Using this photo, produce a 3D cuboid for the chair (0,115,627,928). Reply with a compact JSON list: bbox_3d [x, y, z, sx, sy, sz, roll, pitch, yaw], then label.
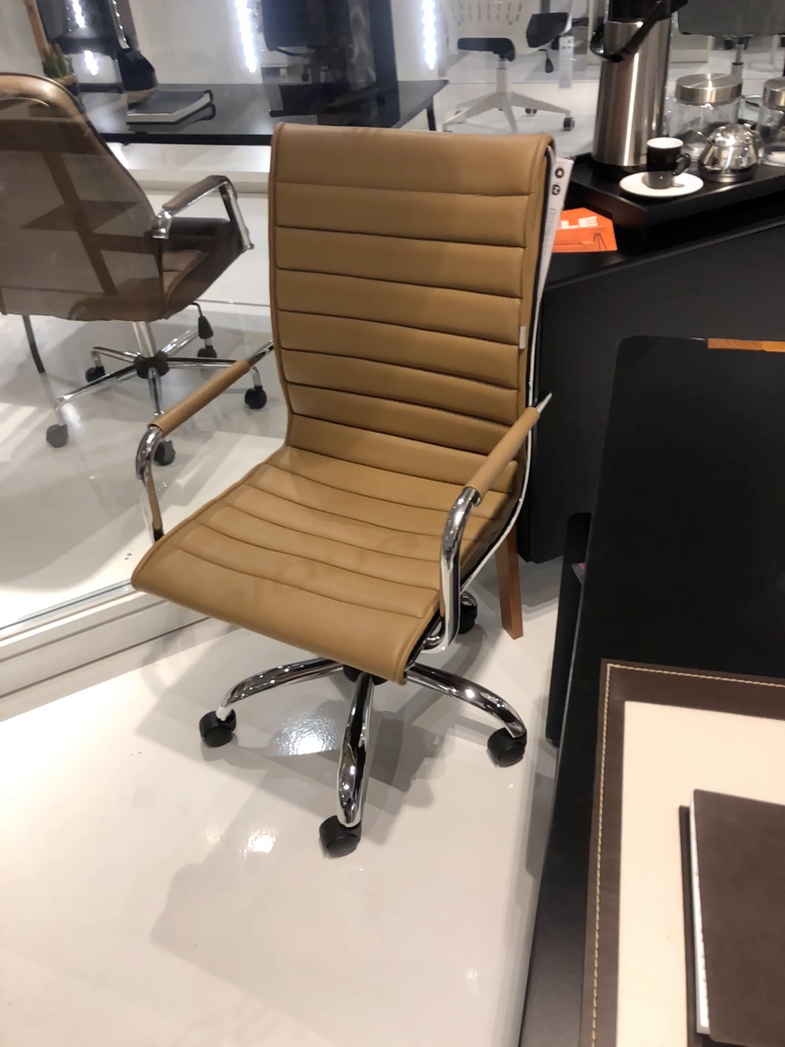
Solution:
[{"bbox_3d":[-0.073,-0.027,1.315,0.601,0.943,0.614,16,42,26],"label":"chair"}]
